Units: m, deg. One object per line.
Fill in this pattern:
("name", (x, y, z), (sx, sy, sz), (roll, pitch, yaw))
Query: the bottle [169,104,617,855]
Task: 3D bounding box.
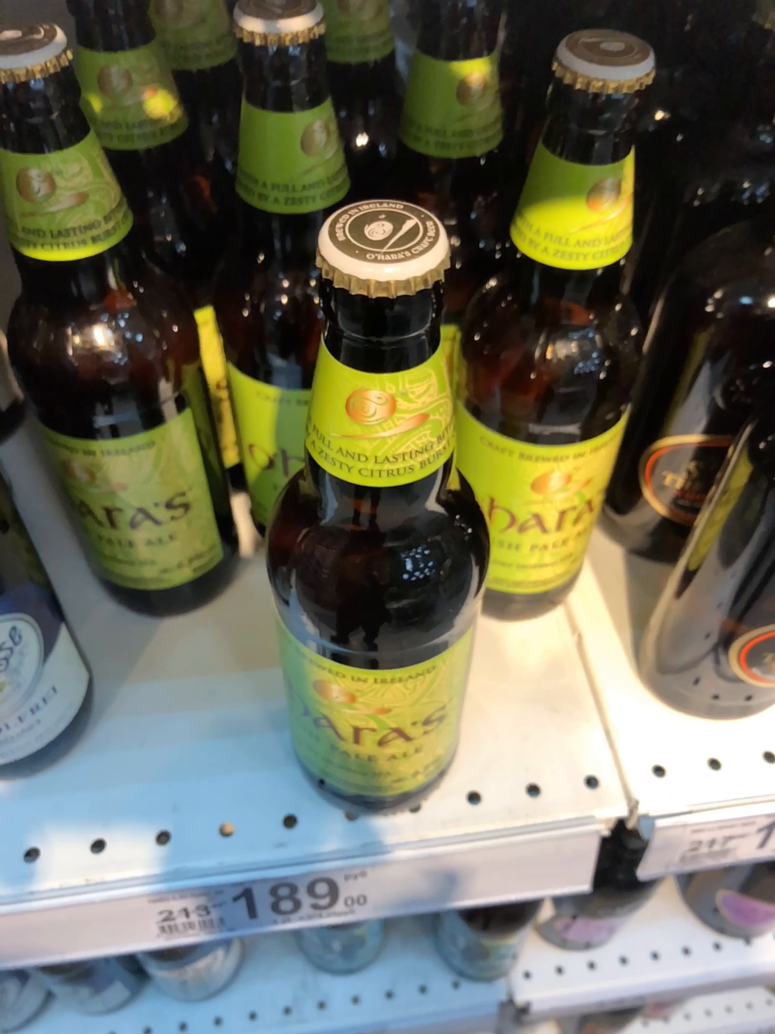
("bottle", (0.001, 0.017, 0.275), (0.070, 0.250, 0.070), (1, 50, -1))
